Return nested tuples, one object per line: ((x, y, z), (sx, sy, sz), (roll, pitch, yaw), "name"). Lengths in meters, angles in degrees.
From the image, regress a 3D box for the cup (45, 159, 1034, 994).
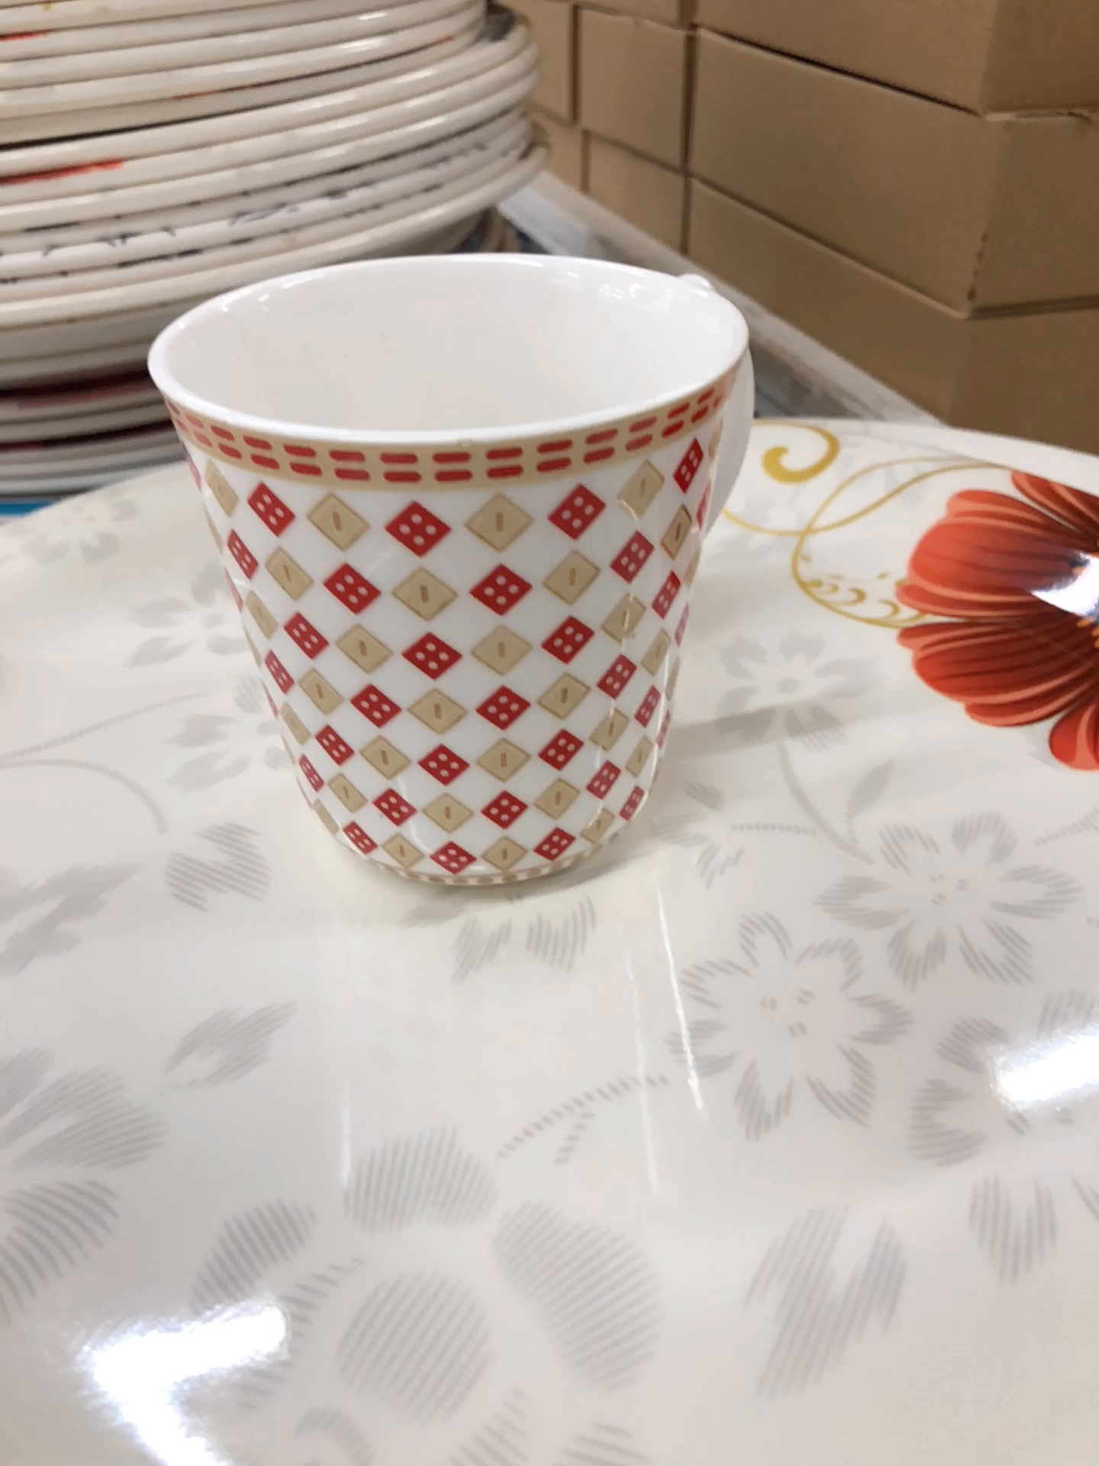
((0.001, -0.037, 0.203), (0.120, 0.079, 0.080), (-25, 42, -29), "cup")
